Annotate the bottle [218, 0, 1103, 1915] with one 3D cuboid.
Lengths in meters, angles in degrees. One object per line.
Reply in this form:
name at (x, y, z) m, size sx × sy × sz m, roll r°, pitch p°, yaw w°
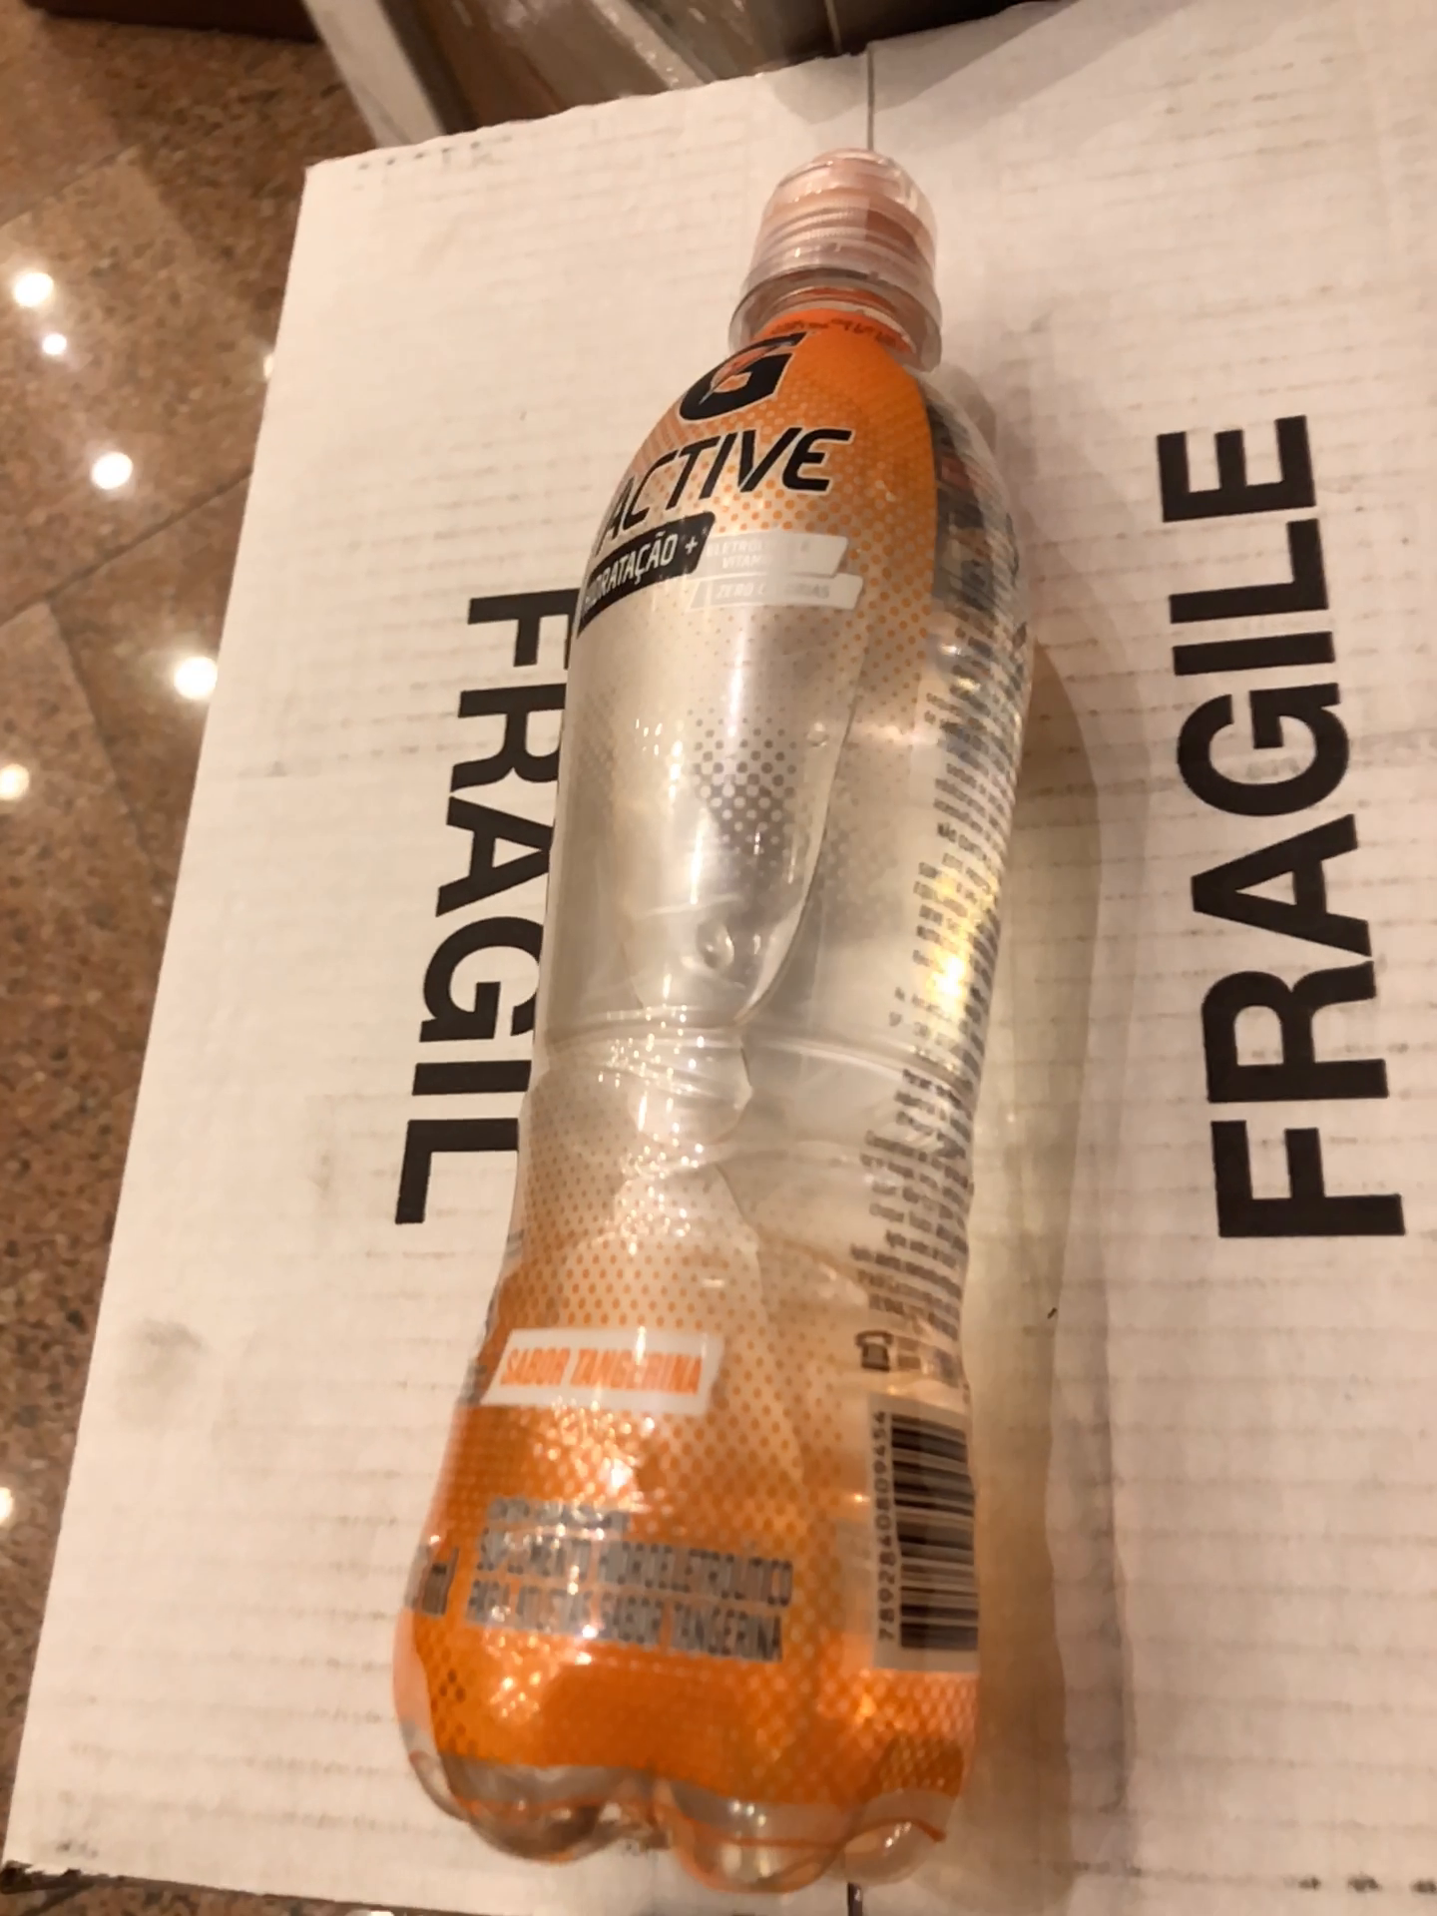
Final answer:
bottle at (0.010, -0.027, 0.210) m, size 0.070 × 0.060 × 0.251 m, roll 1°, pitch 68°, yaw 16°
